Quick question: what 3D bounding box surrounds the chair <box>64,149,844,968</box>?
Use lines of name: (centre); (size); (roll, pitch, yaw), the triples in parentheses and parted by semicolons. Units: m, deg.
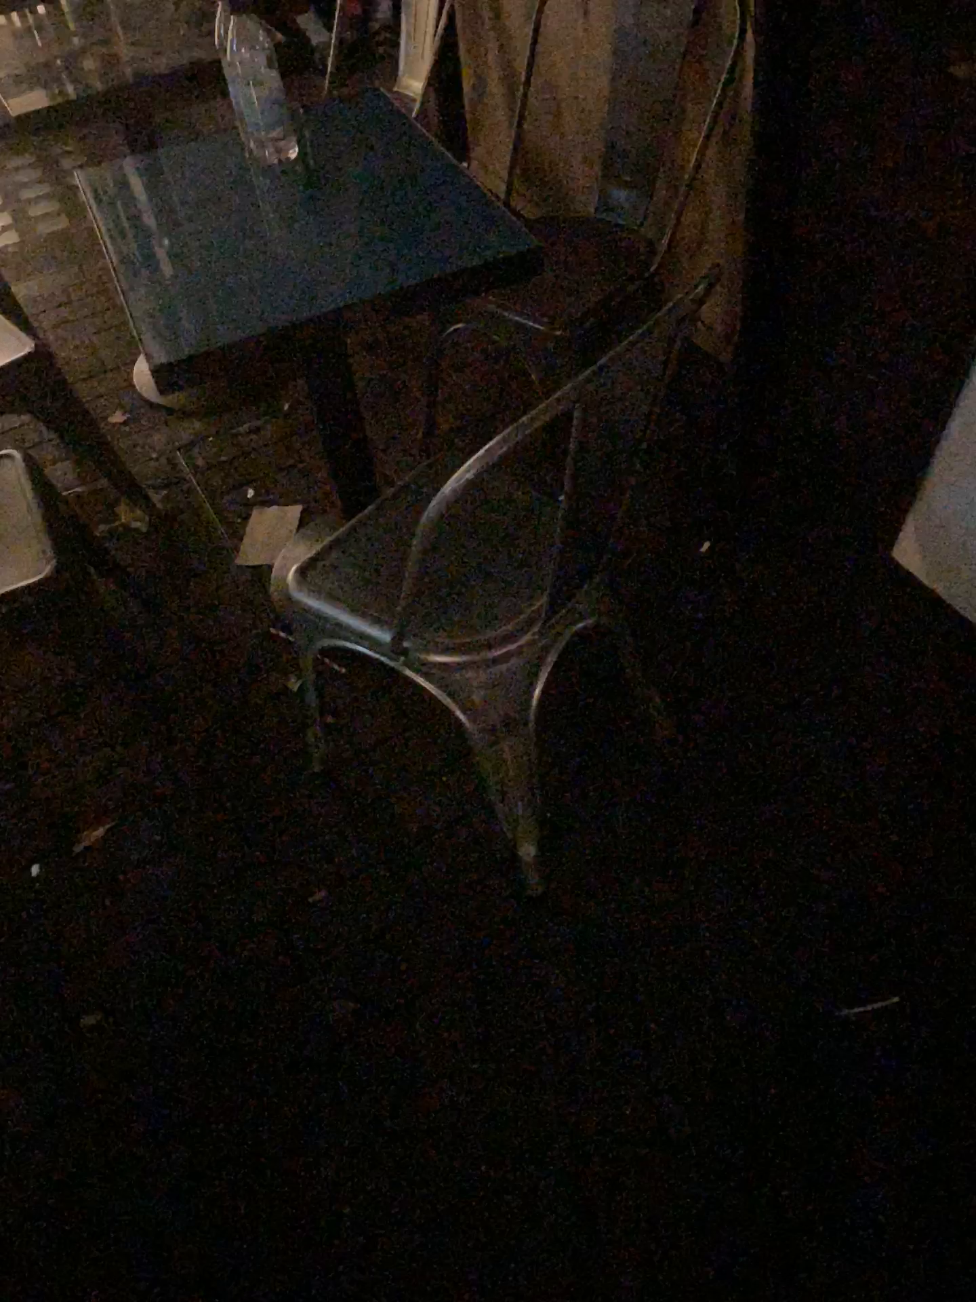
chair: (0.003, -0.117, 1.247); (0.603, 0.723, 0.503); (24, 55, 27)
